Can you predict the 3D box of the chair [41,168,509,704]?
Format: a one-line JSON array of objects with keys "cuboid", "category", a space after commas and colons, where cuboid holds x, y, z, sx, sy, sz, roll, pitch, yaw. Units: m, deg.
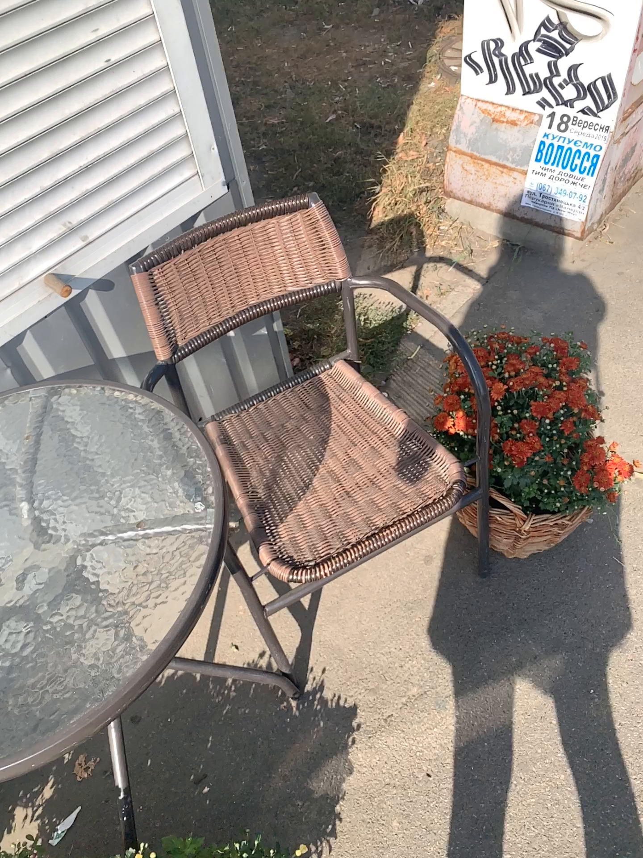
[{"cuboid": [-0.087, 0.010, 1.409, 0.570, 0.717, 0.693, -28, 51, -14], "category": "chair"}]
